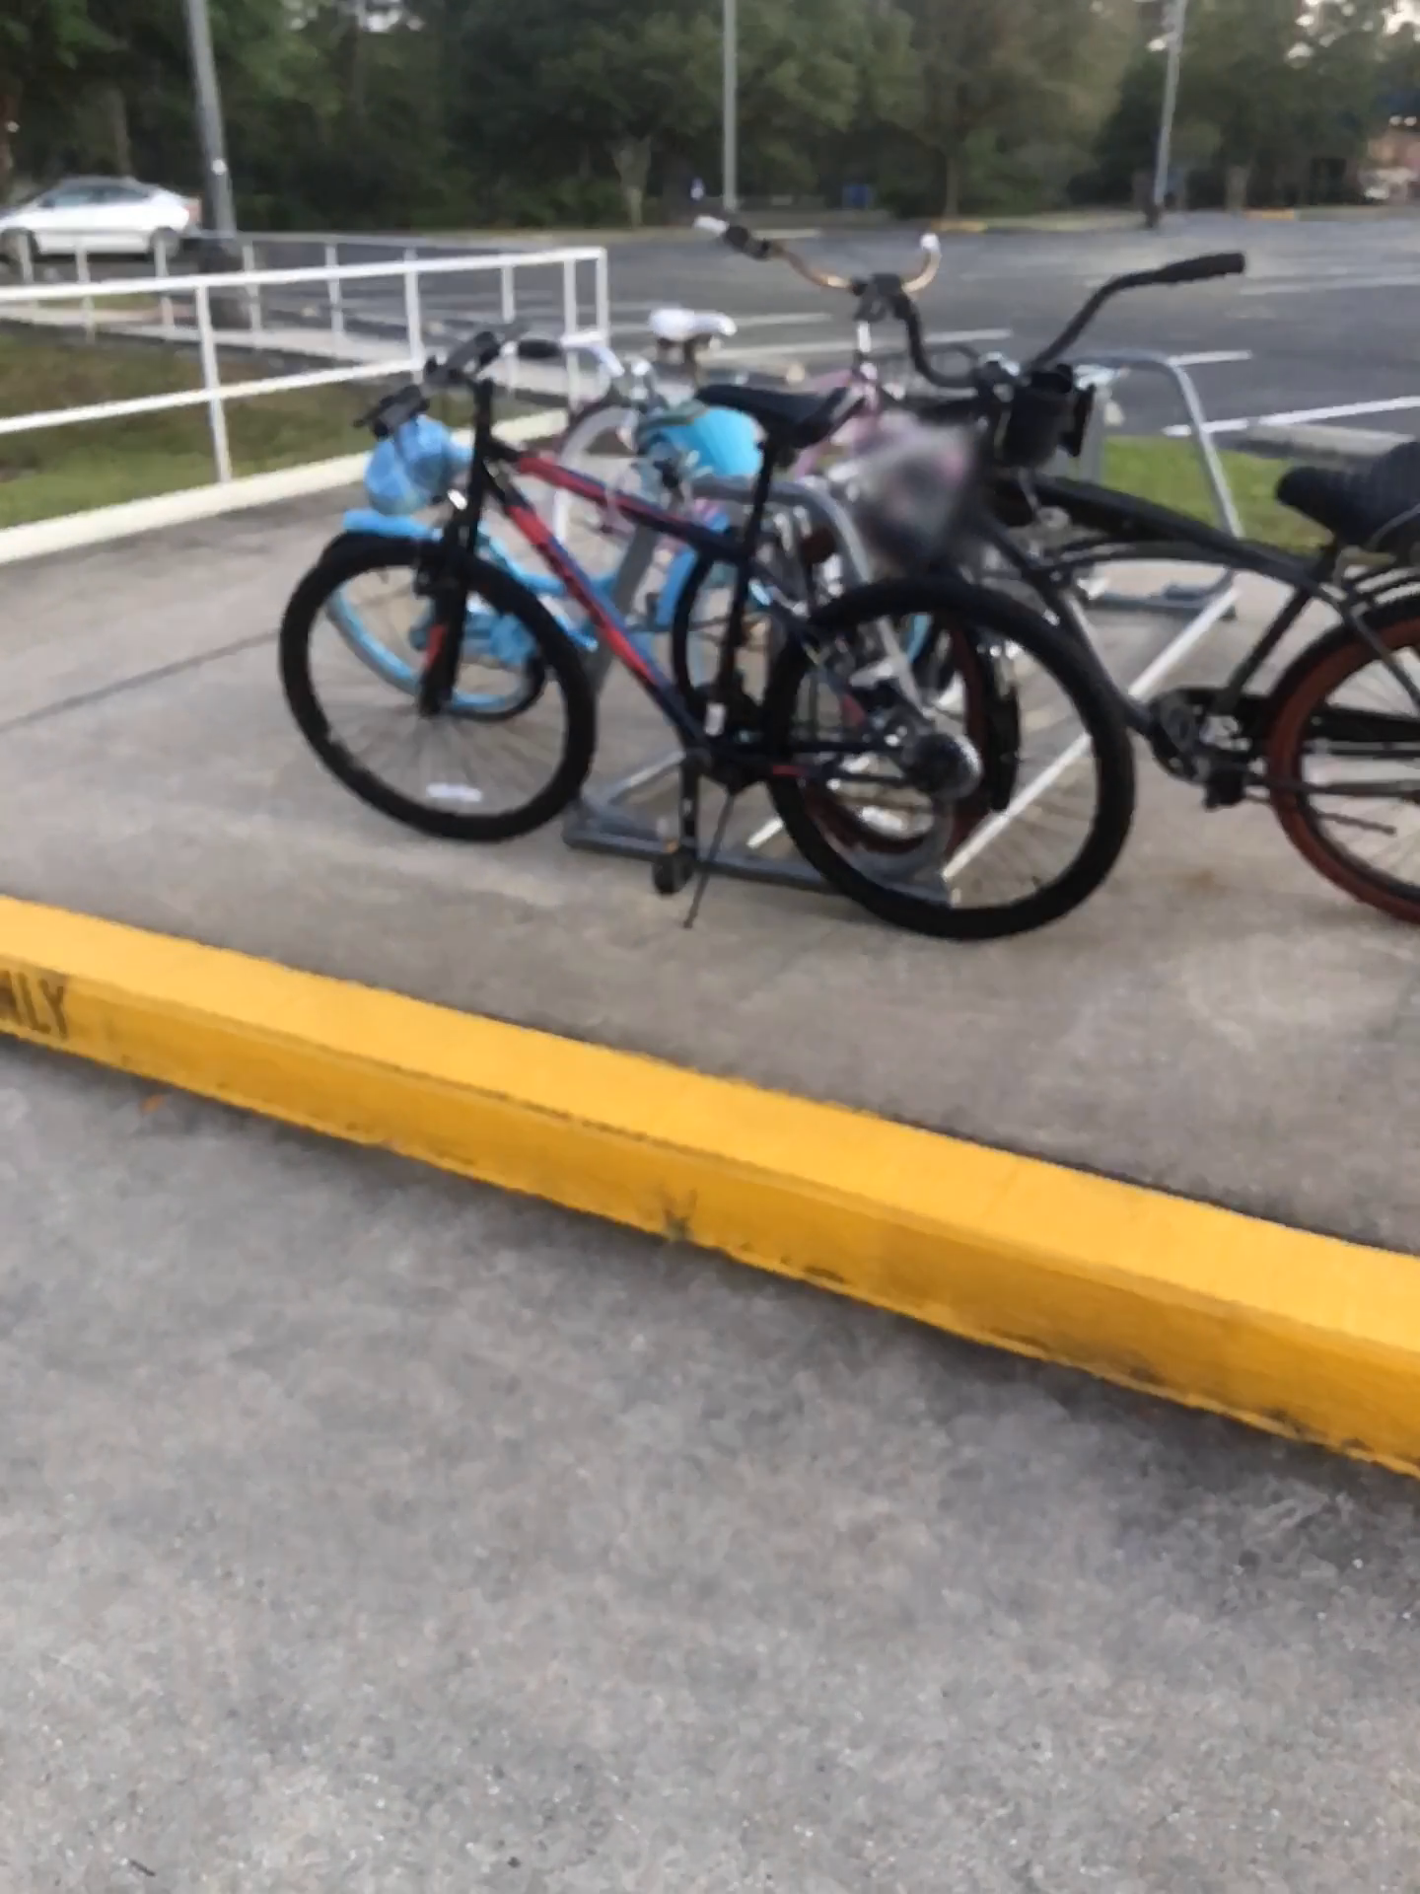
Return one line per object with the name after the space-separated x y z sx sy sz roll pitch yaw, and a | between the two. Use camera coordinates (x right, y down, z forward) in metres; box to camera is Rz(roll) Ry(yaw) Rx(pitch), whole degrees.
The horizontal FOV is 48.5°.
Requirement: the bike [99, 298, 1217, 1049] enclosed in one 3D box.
-0.093 -0.550 2.668 1.631 0.932 0.626 11 28 22 | bike
